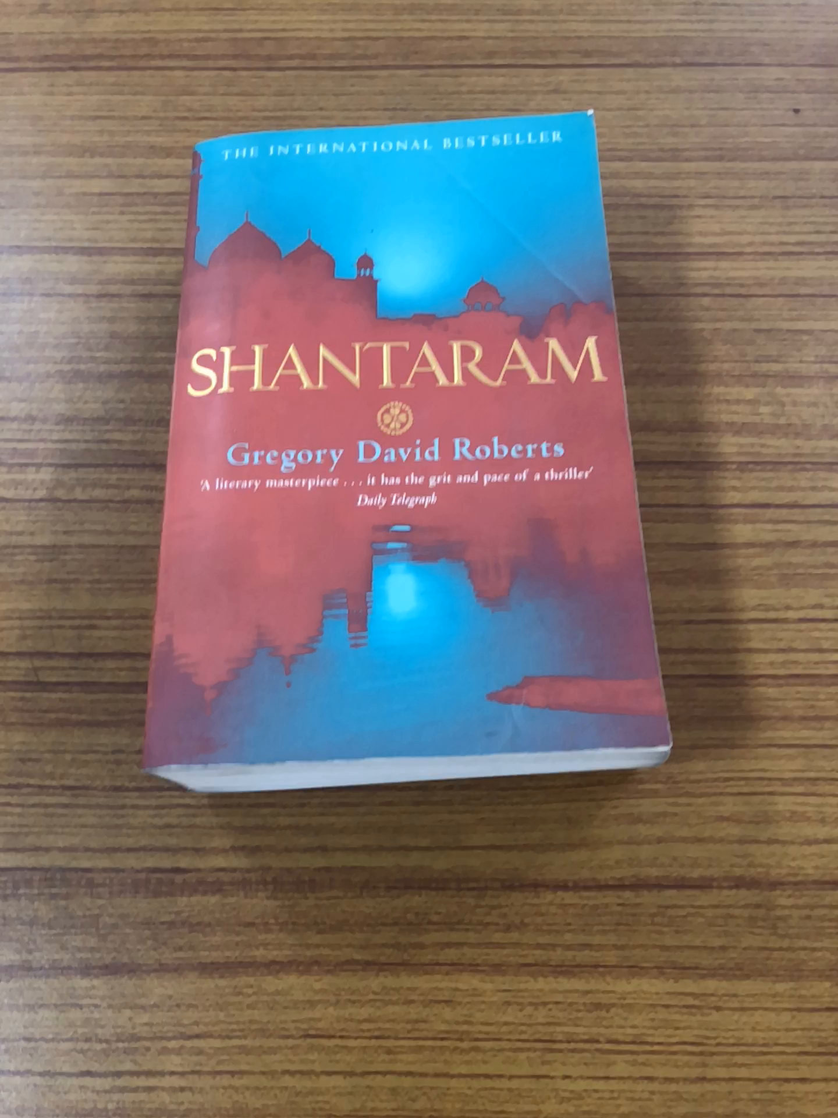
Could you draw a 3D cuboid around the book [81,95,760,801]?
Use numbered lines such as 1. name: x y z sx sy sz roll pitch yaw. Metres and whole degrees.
1. book: -0.003 -0.035 0.264 0.150 0.050 0.190 -3 69 0
